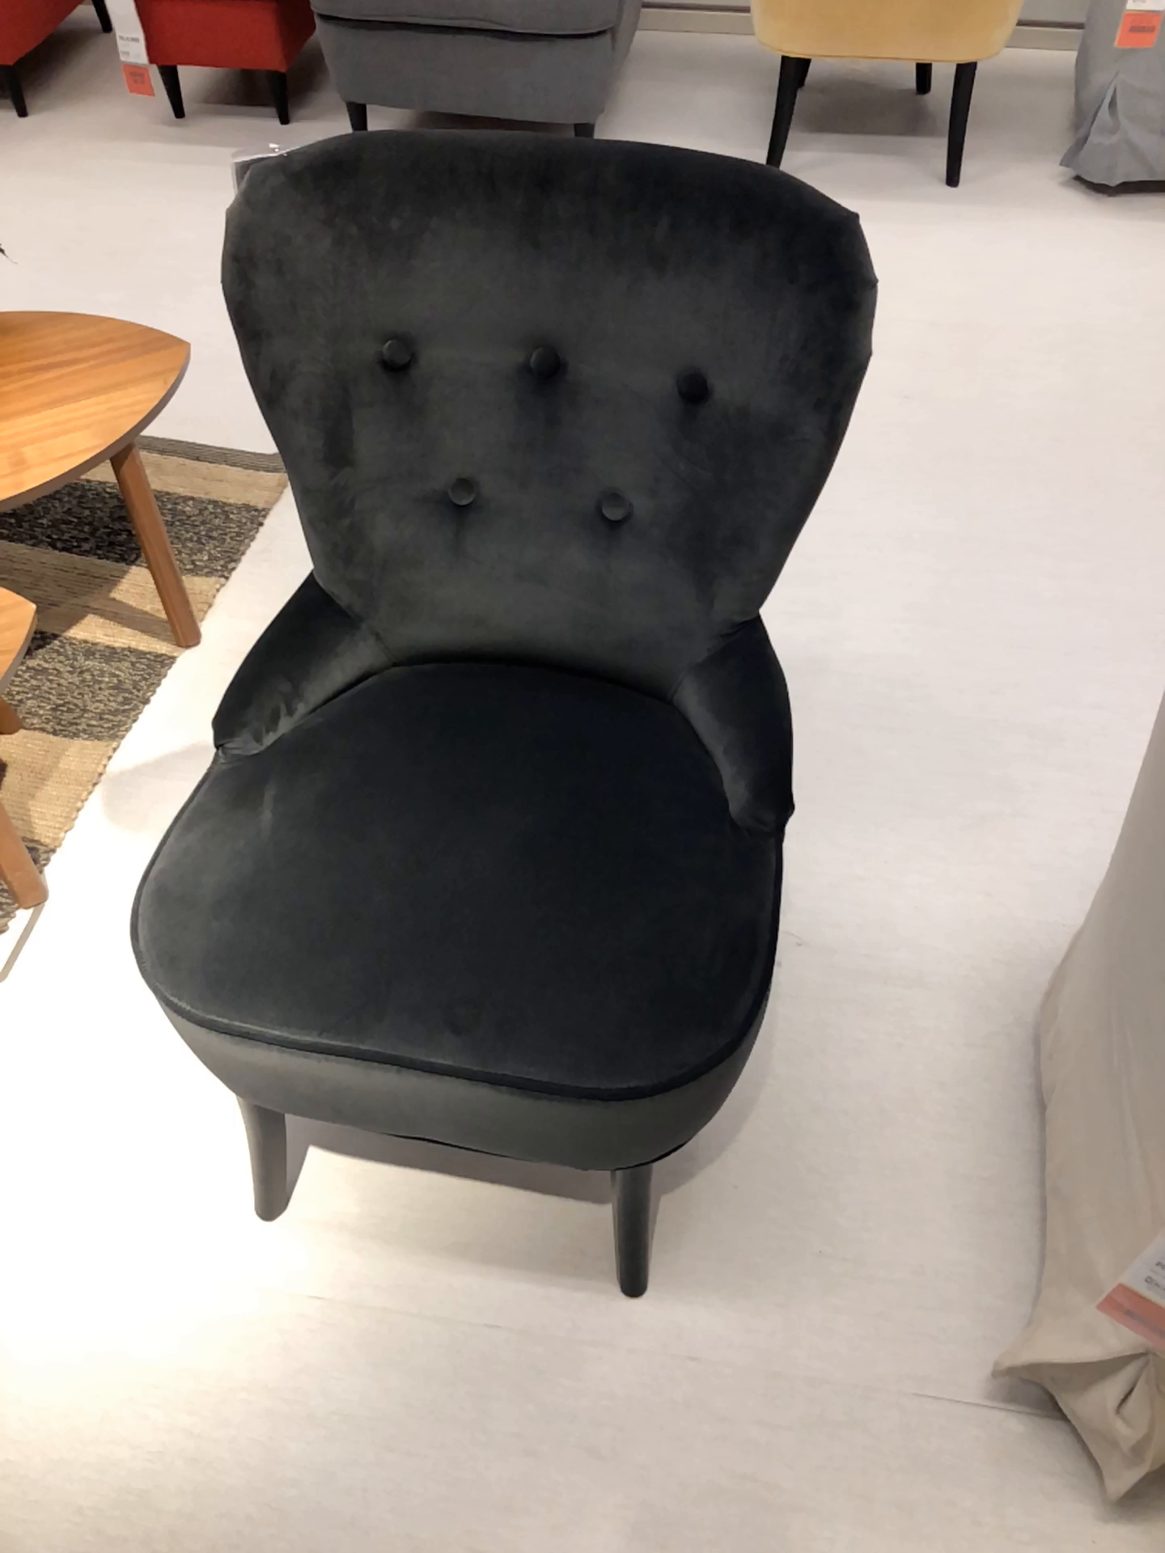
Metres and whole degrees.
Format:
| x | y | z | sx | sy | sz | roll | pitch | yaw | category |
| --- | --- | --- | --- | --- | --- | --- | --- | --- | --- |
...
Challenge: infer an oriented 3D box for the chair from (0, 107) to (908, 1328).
| x | y | z | sx | sy | sz | roll | pitch | yaw | category |
| --- | --- | --- | --- | --- | --- | --- | --- | --- | --- |
| -0.069 | -0.052 | 1.229 | 0.600 | 0.776 | 0.794 | 7 | 51 | 7 | chair |
